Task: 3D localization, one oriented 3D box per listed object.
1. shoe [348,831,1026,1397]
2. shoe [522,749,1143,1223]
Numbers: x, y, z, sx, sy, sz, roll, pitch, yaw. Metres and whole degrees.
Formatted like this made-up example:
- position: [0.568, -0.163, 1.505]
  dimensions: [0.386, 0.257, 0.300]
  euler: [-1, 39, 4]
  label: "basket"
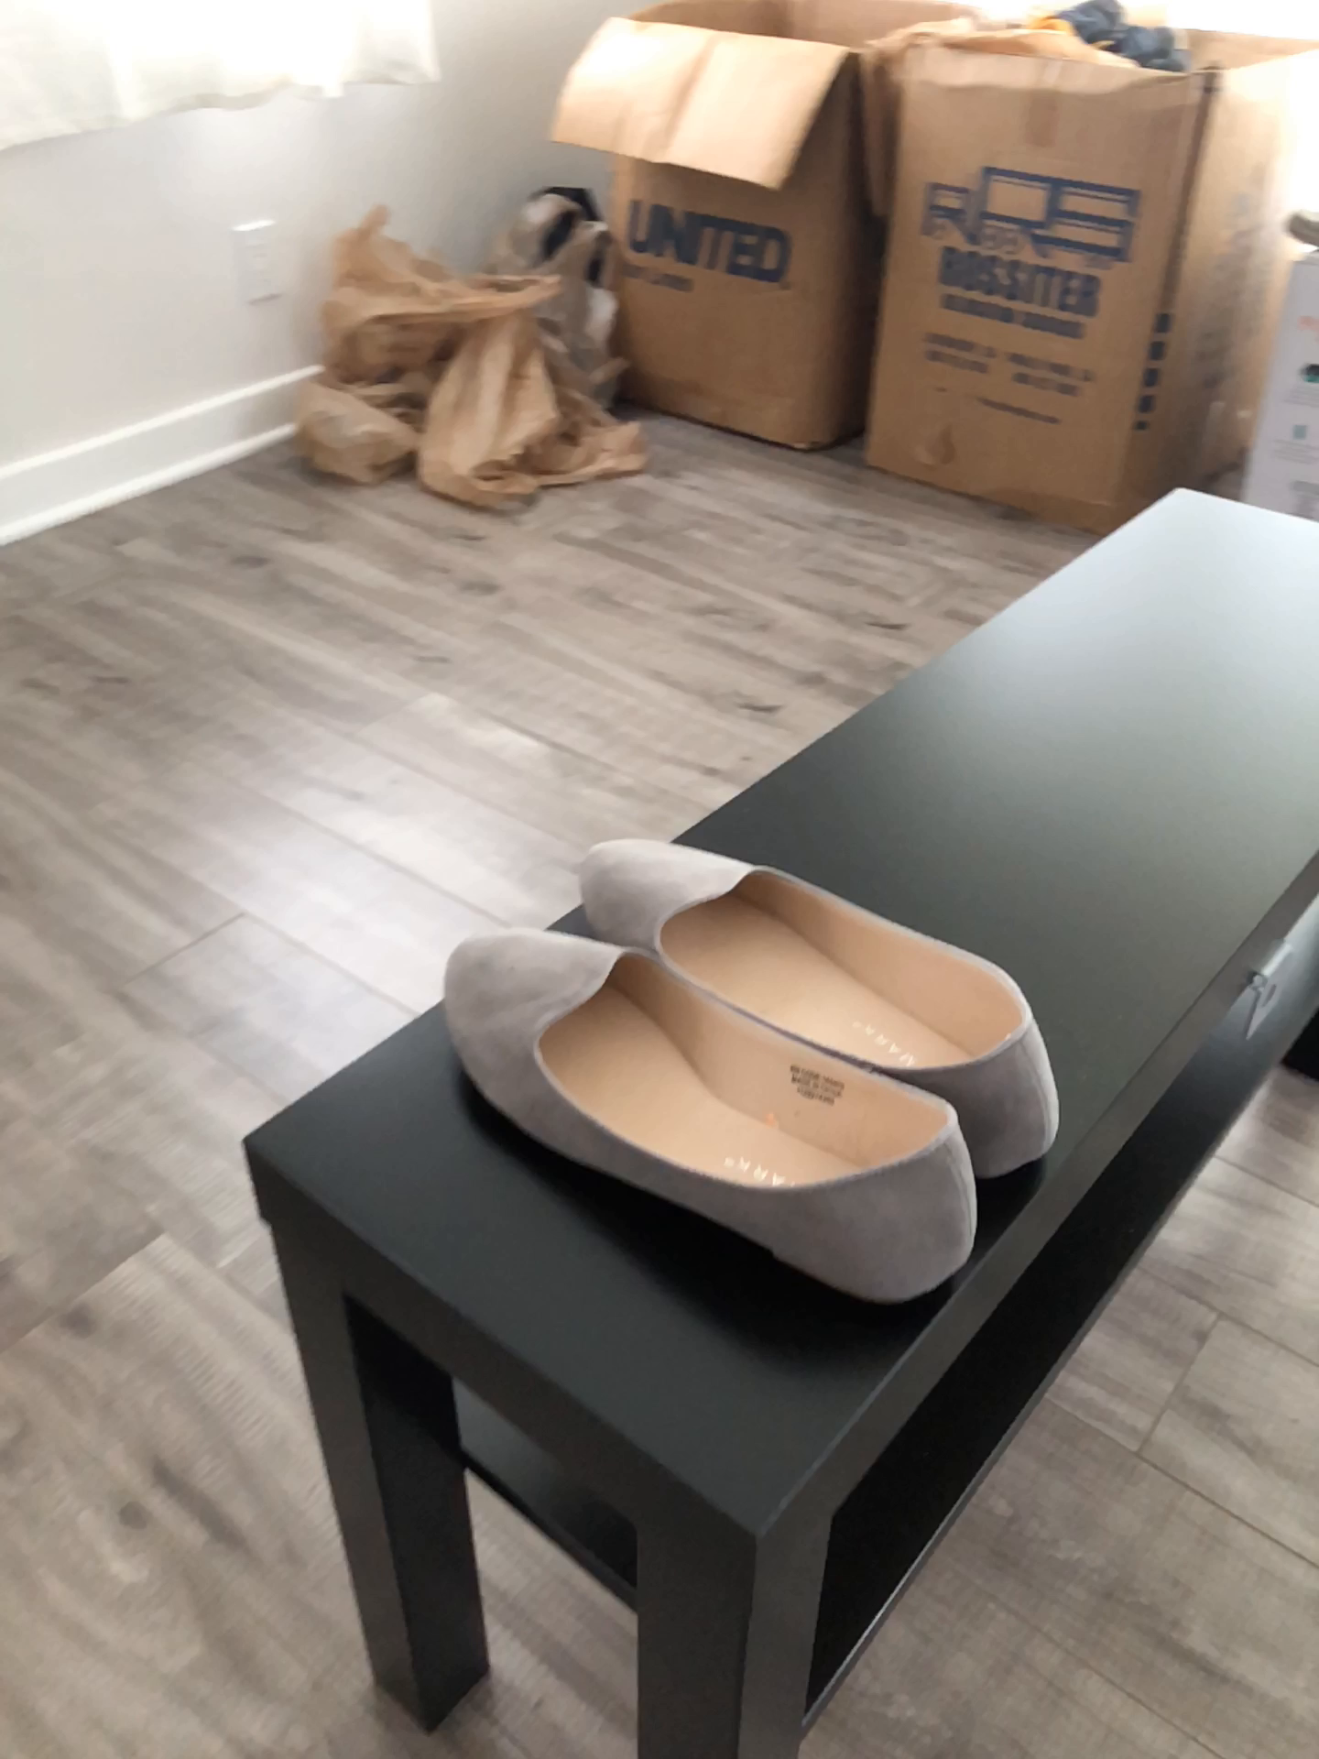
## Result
- position: [0.001, 0.076, 0.569]
  dimensions: [0.257, 0.060, 0.100]
  euler: [29, 45, 33]
  label: "shoe"
- position: [0.064, 0.033, 0.628]
  dimensions: [0.251, 0.060, 0.100]
  euler: [29, 45, 33]
  label: "shoe"
